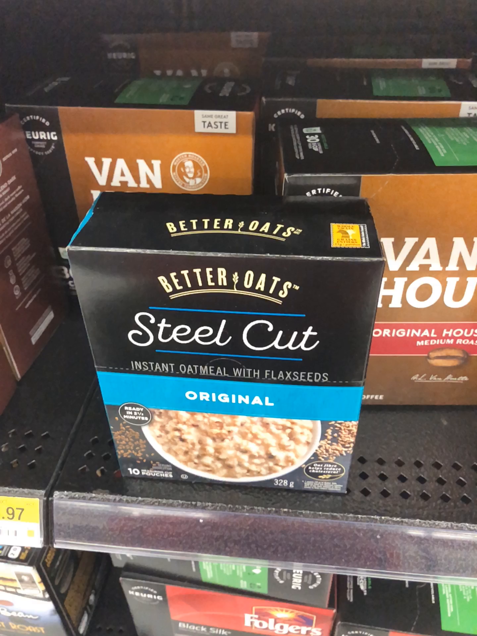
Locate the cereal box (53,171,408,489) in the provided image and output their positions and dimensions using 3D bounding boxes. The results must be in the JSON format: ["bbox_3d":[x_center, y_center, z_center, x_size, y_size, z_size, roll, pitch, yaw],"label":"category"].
[{"bbox_3d":[-0.002,0.016,0.305,0.150,0.179,0.060,3,40,4],"label":"cereal box"}]
